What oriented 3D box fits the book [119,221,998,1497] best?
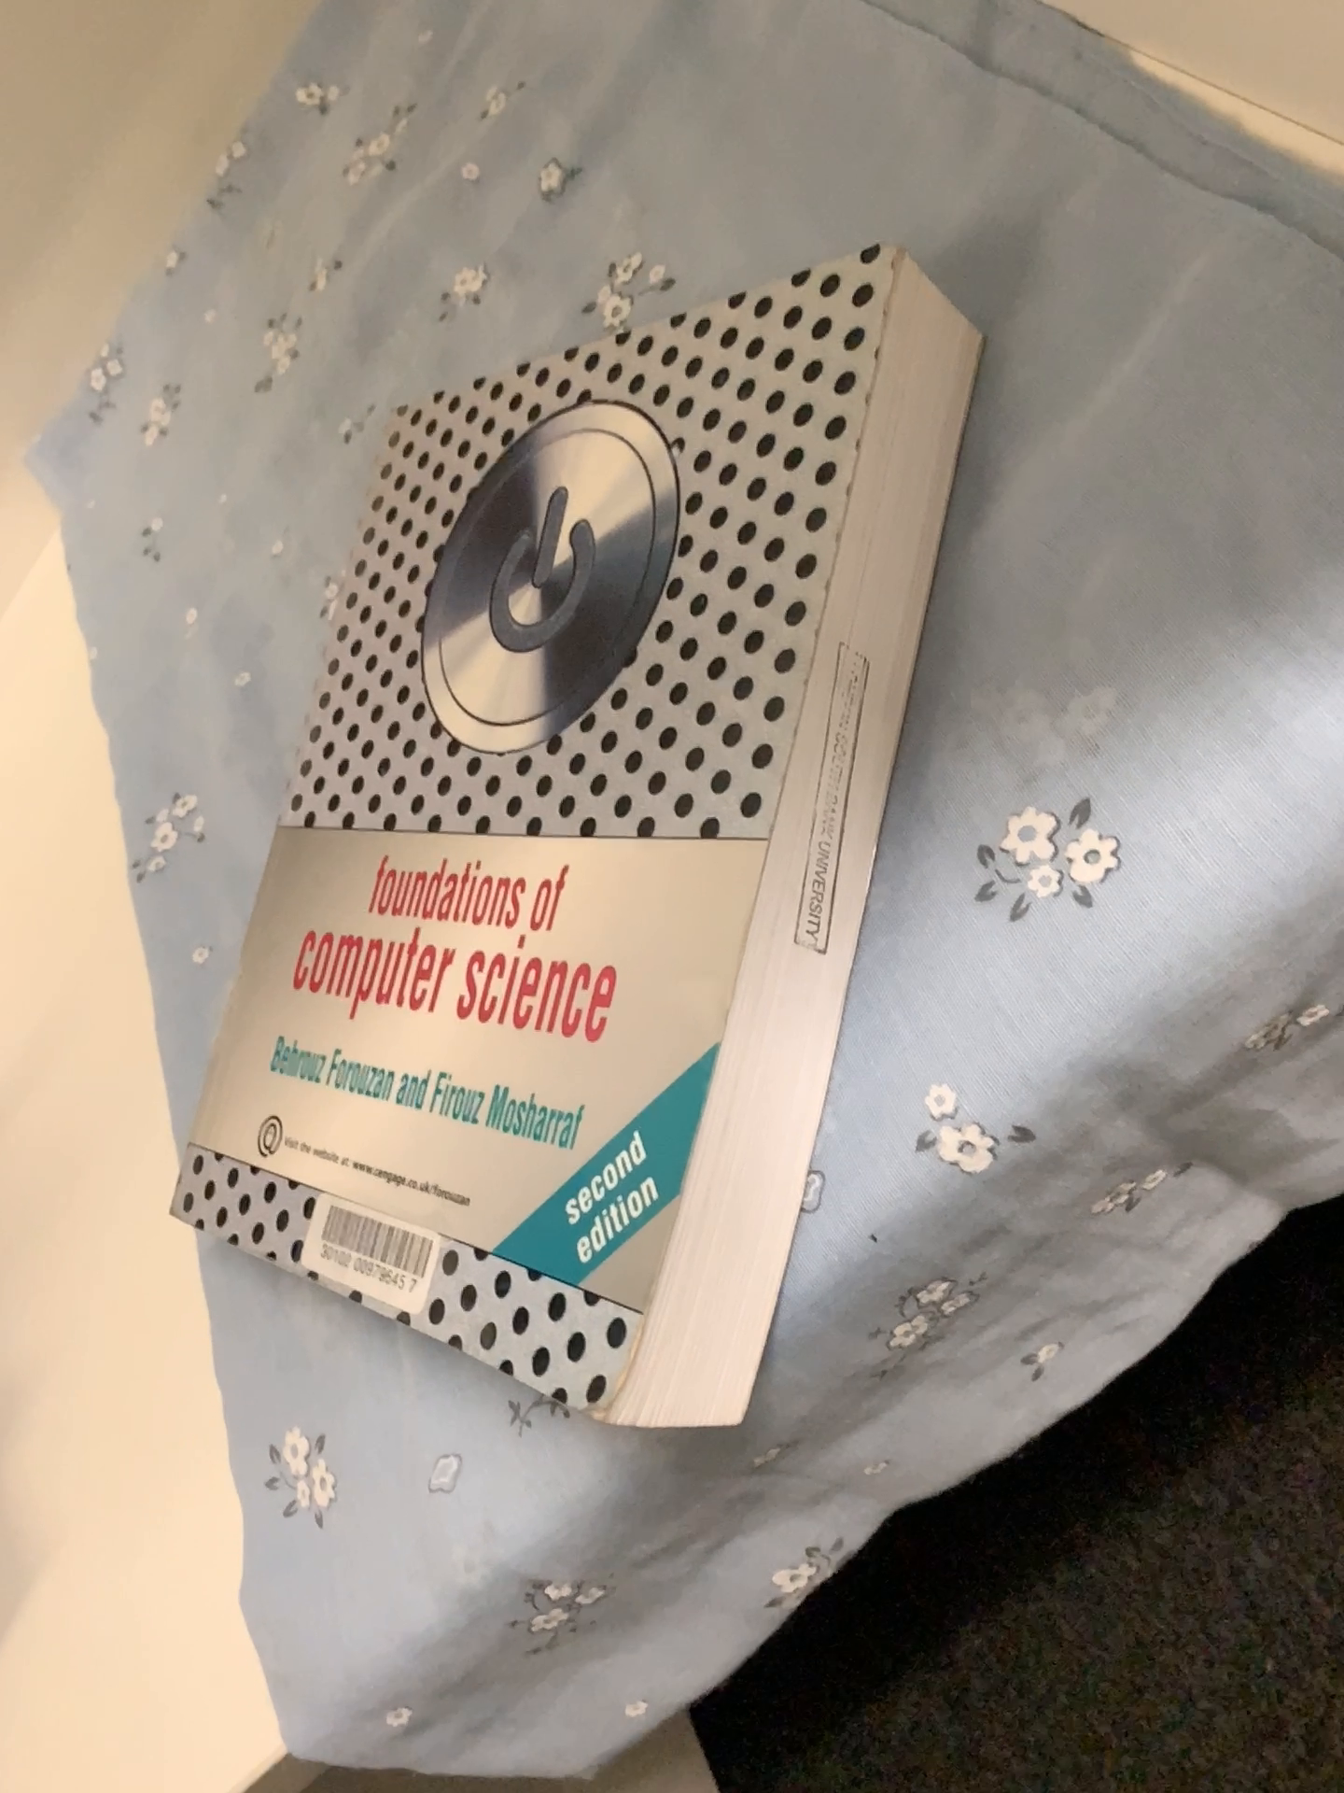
[{"bbox_3d":[-0.038,-0.015,0.336,0.192,0.040,0.246,3,75,45],"label":"book"}]
